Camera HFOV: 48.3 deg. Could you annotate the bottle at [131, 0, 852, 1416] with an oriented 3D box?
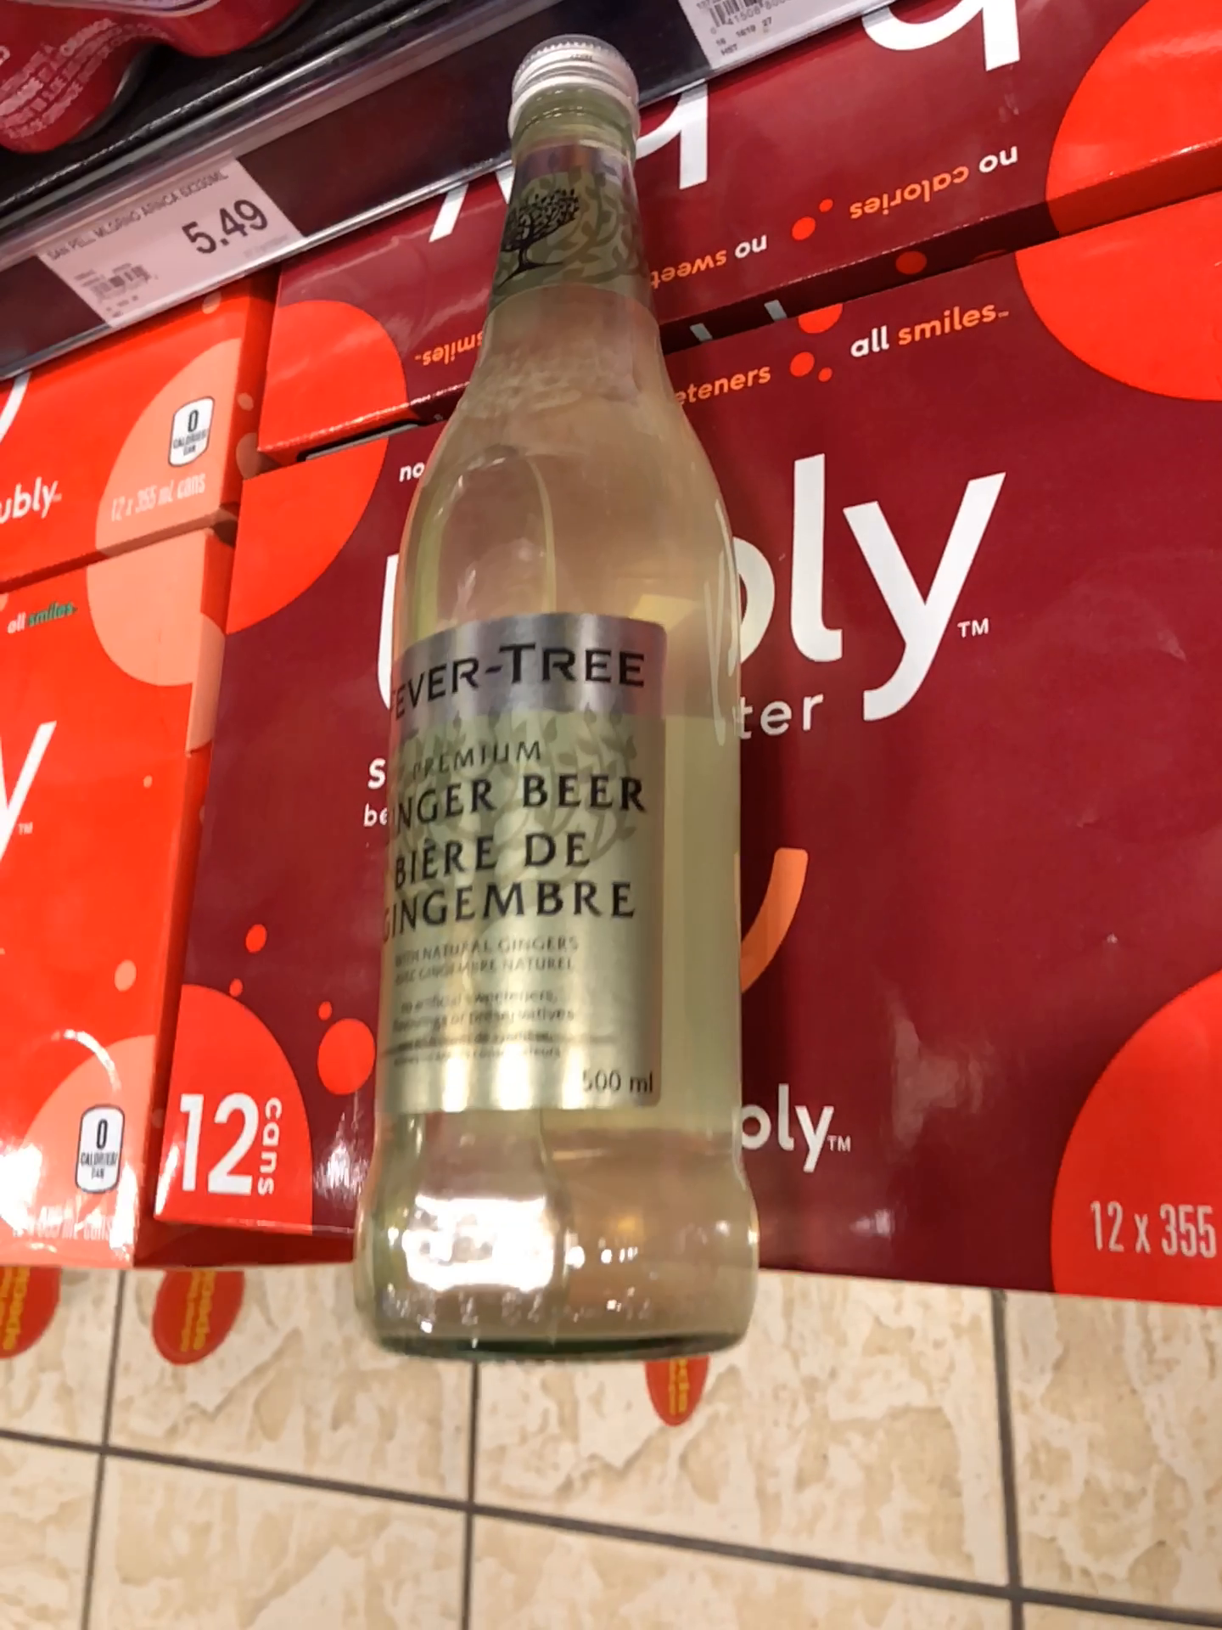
[{"bbox_3d":[-0.018,-0.042,0.251,0.080,0.080,0.270,-11,70,28],"label":"bottle"}]
